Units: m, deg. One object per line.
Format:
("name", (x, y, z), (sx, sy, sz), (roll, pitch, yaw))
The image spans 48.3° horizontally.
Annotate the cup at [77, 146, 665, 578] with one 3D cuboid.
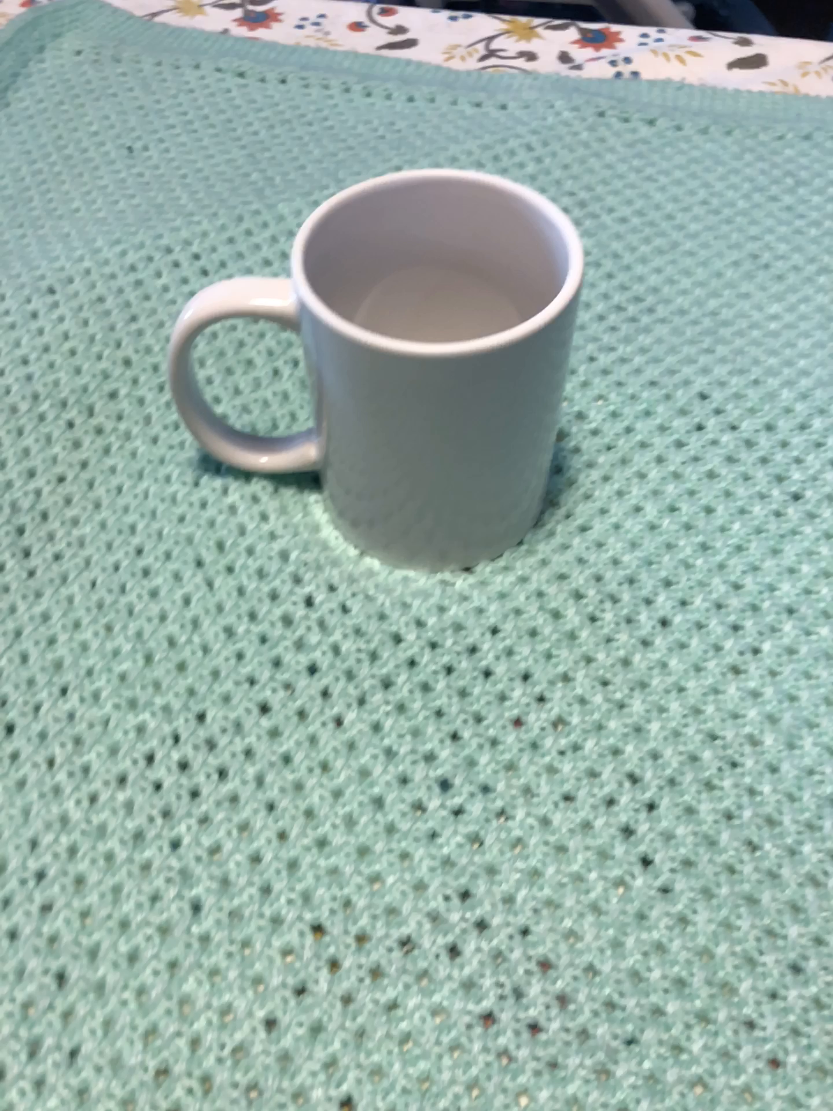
("cup", (-0.012, -0.059, 0.283), (0.140, 0.080, 0.101), (-2, 53, -2))
